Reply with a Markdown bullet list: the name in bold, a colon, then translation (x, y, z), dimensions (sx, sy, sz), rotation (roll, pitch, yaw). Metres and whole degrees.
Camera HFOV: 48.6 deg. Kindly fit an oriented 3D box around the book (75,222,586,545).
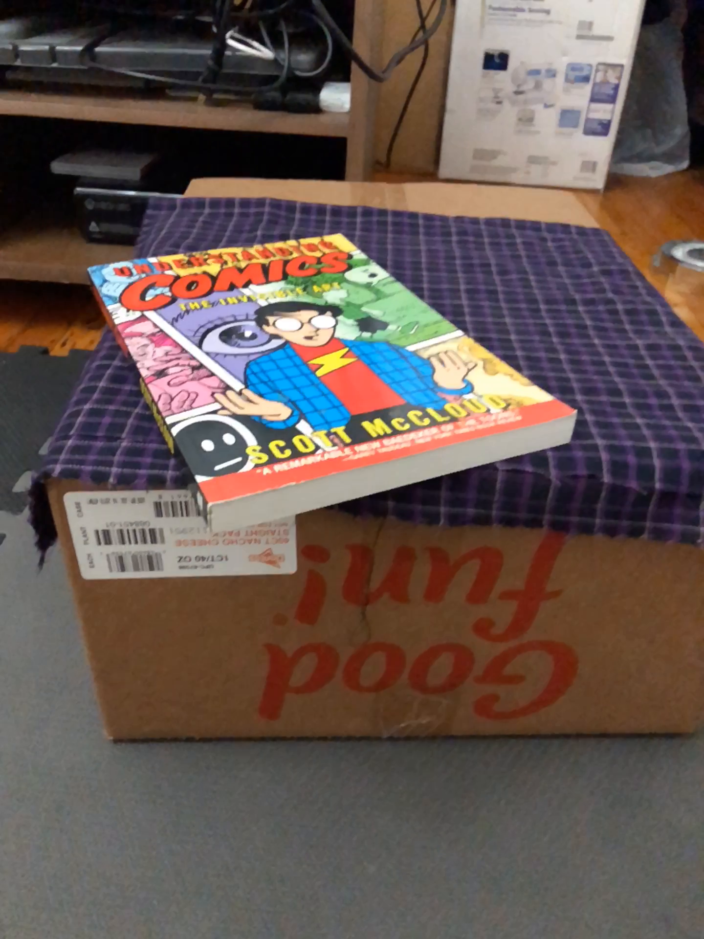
- **book**: translation (-0.034, -0.071, 0.409), dimensions (0.170, 0.020, 0.271), rotation (-13, 38, -22)
